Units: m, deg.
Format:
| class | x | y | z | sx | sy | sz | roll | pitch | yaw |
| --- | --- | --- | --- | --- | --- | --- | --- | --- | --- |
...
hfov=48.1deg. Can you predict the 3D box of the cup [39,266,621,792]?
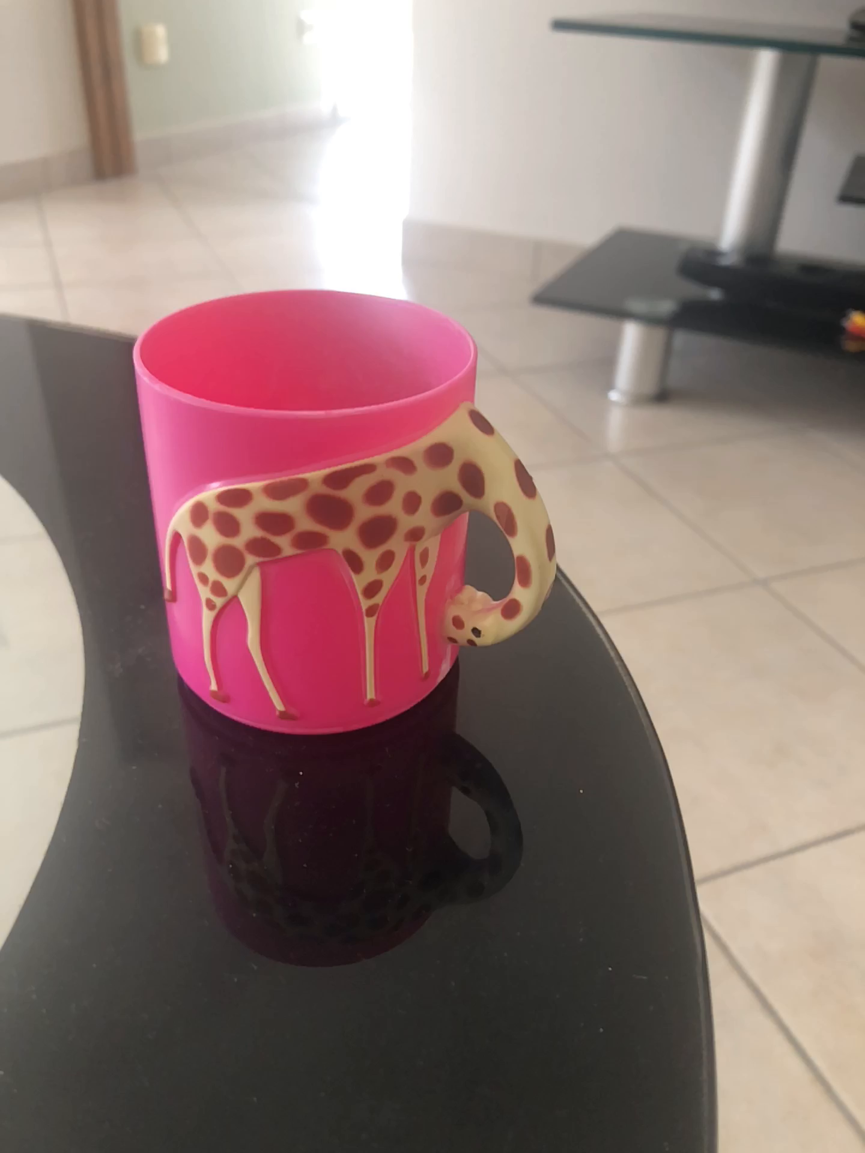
| class | x | y | z | sx | sy | sz | roll | pitch | yaw |
| --- | --- | --- | --- | --- | --- | --- | --- | --- | --- |
| cup | -0.015 | -0.015 | 0.201 | 0.090 | 0.070 | 0.070 | 11 | 33 | 12 |
